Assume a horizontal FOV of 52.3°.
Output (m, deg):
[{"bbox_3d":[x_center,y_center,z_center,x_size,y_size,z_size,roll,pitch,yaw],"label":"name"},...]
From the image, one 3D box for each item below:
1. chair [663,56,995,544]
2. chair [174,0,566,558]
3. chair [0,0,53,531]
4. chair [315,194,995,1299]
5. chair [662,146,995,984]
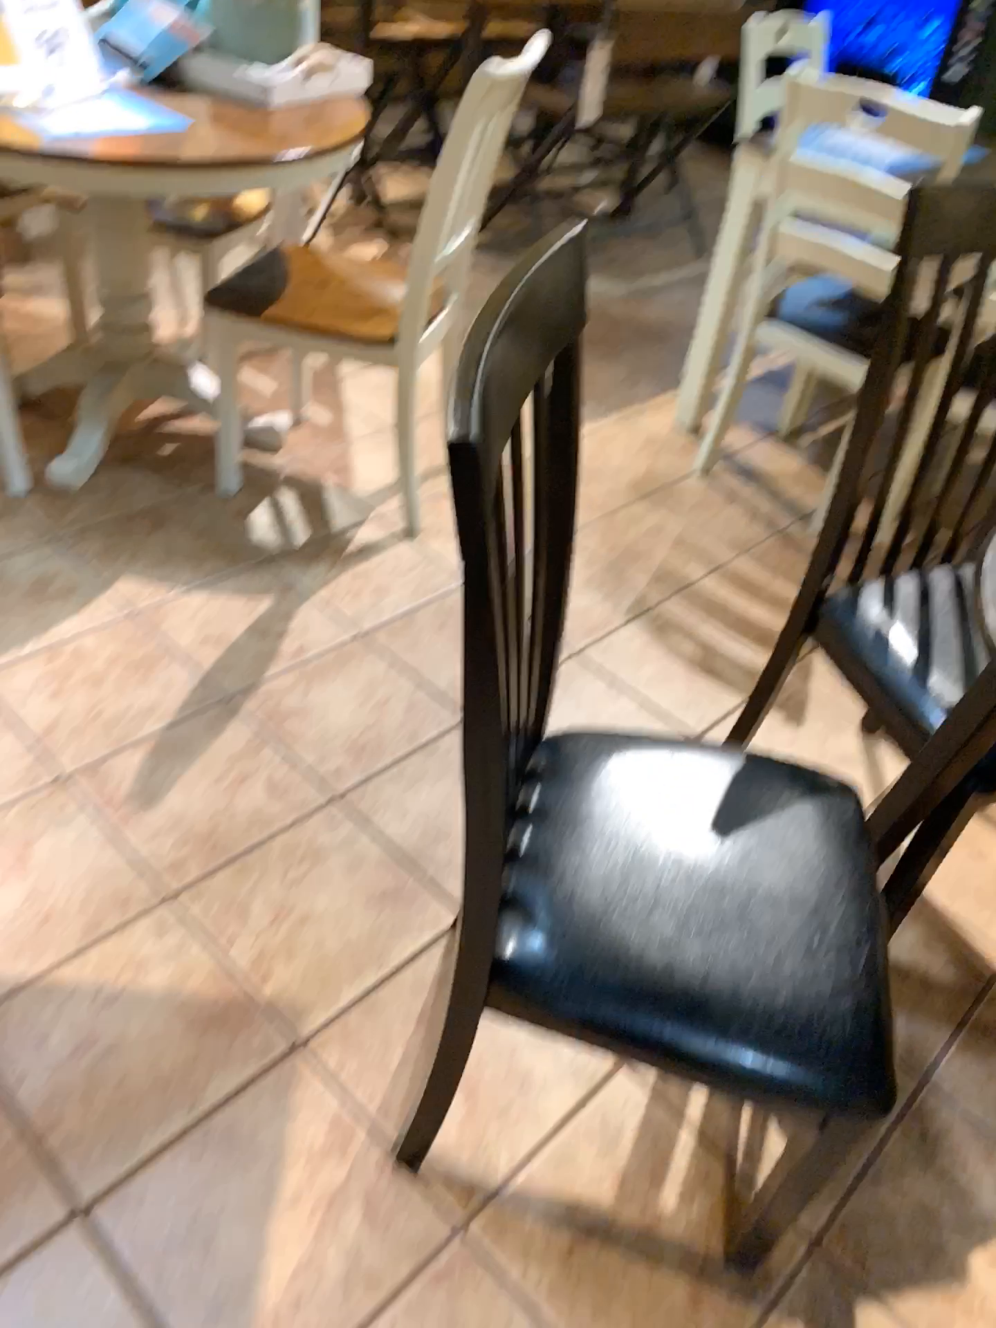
[{"bbox_3d":[0.801,-0.830,2.328,0.405,0.894,0.543,37,47,29],"label":"chair"},{"bbox_3d":[-0.246,-0.765,2.011,0.541,0.894,0.466,14,40,6],"label":"chair"},{"bbox_3d":[-1.175,-0.764,1.813,0.542,0.903,0.416,-10,43,-22],"label":"chair"},{"bbox_3d":[0.171,0.134,1.002,0.561,0.923,0.456,13,40,4],"label":"chair"},{"bbox_3d":[0.634,-0.114,1.376,0.385,0.933,0.543,-12,44,-24],"label":"chair"}]
